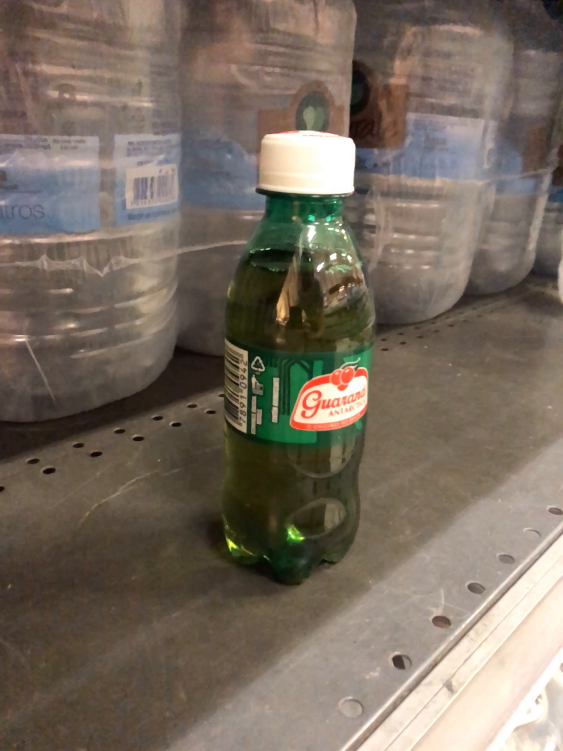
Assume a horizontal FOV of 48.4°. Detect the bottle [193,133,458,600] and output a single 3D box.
[{"bbox_3d":[0.010,-0.007,0.231,0.060,0.149,0.060,3,22,-1],"label":"bottle"}]
